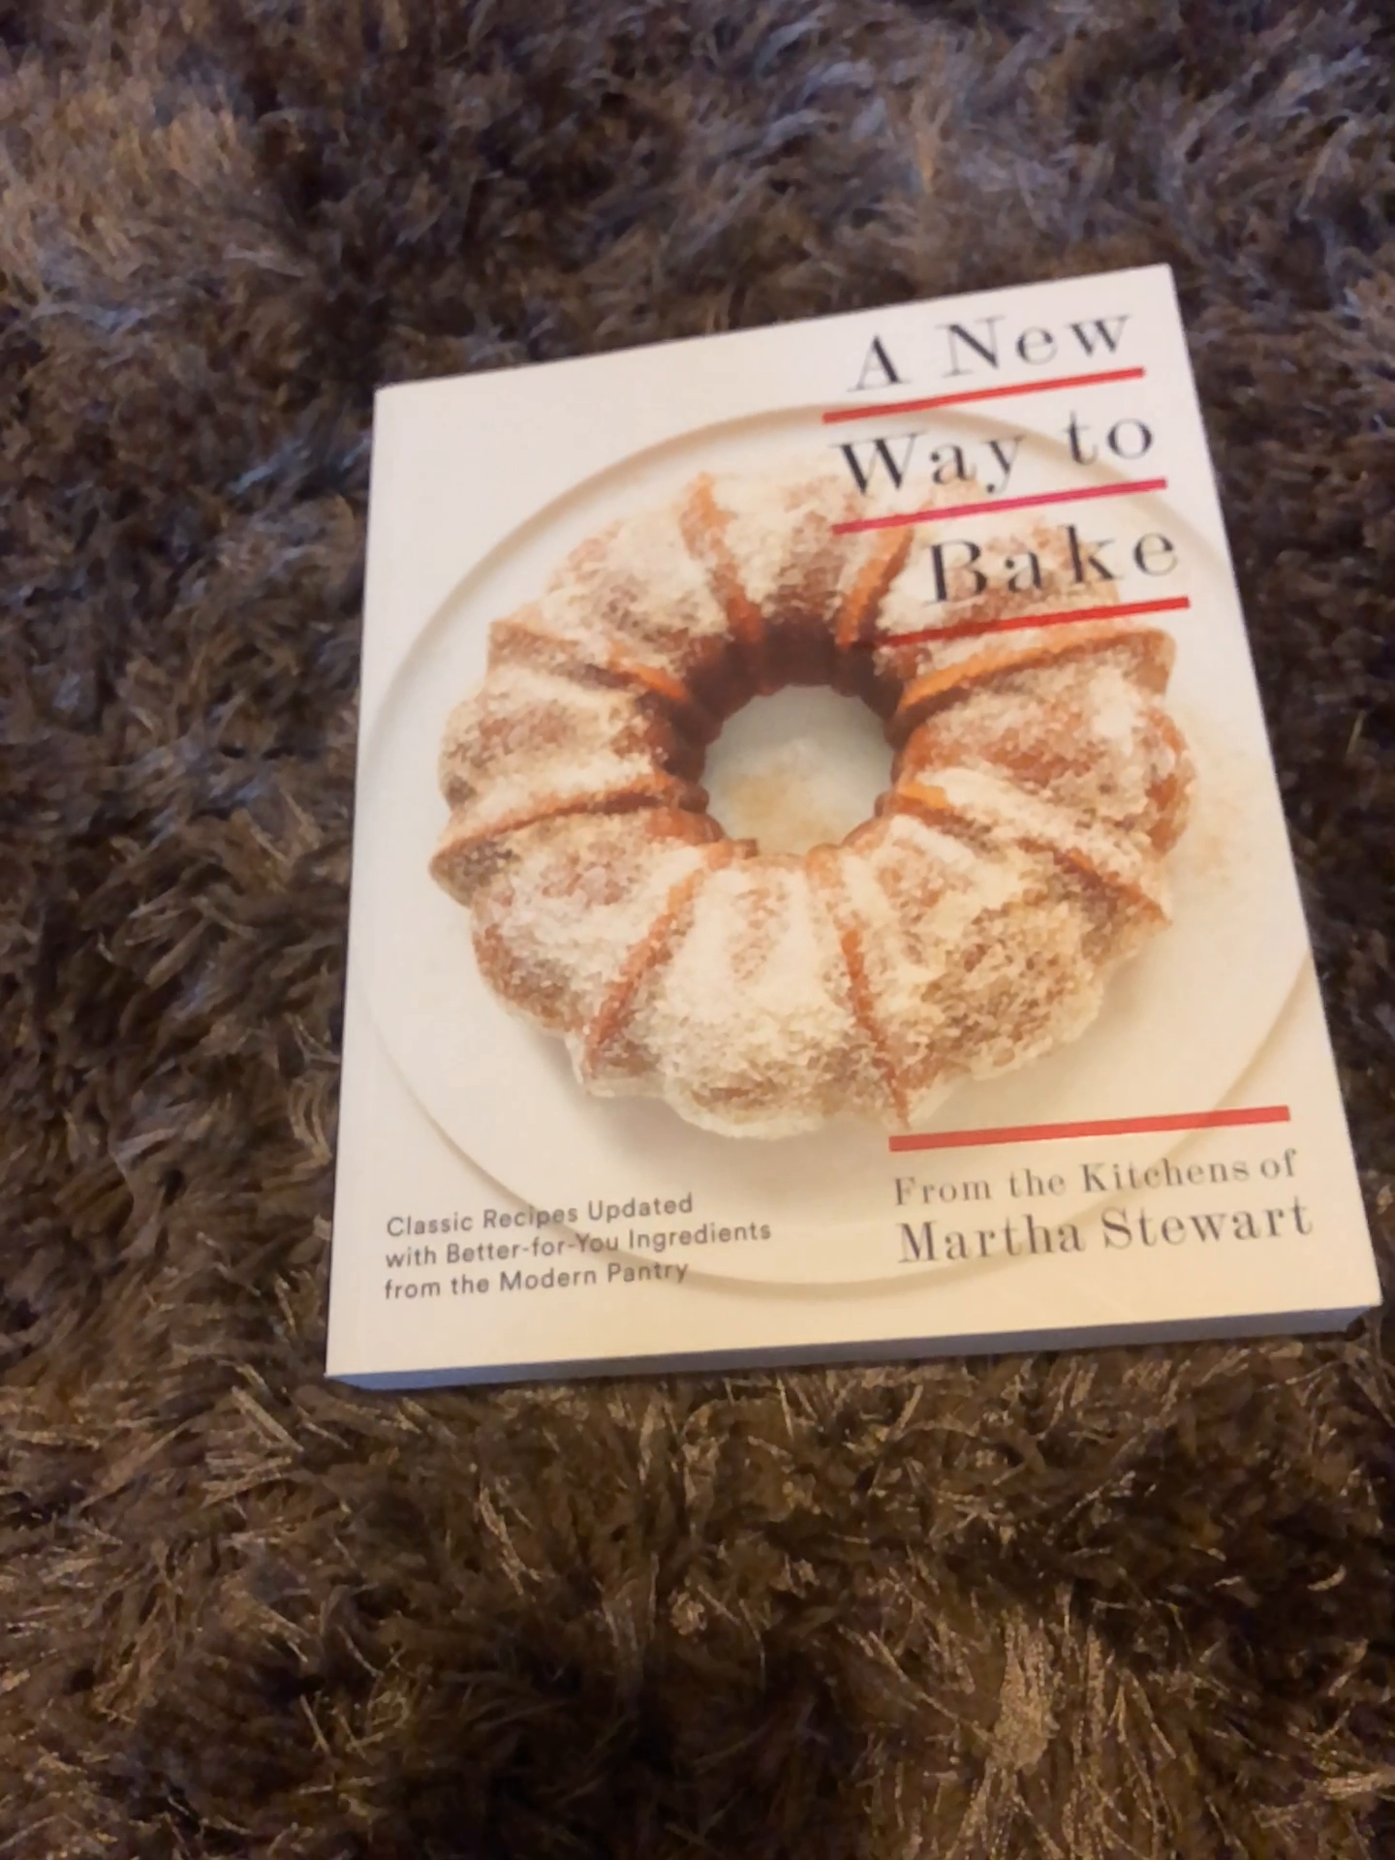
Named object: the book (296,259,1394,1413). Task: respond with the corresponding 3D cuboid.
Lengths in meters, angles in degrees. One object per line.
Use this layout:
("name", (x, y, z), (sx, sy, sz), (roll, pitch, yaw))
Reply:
("book", (0.019, -0.025, 0.333), (0.192, 0.040, 0.229), (-6, 67, 8))
